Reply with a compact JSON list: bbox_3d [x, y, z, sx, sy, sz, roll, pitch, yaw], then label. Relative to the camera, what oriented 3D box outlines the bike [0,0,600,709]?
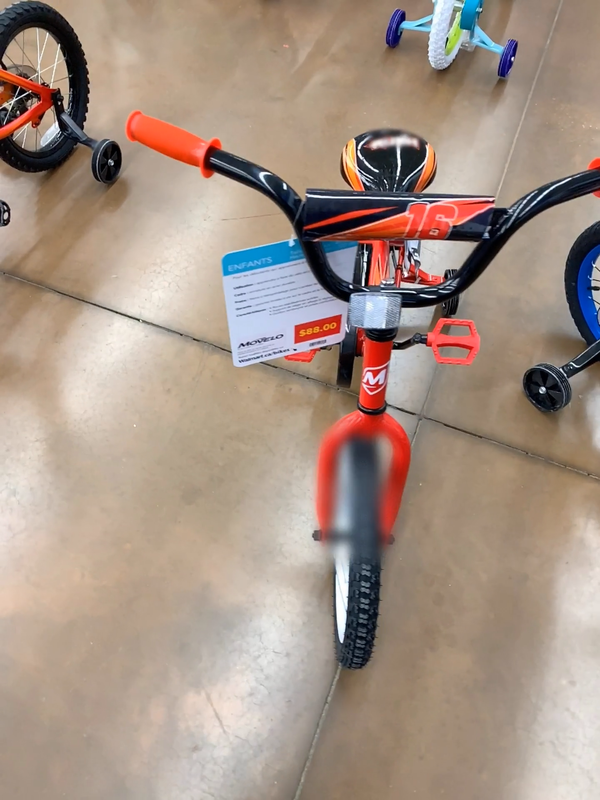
[{"bbox_3d":[0.137,-0.166,1.016,0.584,0.850,1.074,5,56,2],"label":"bike"}]
